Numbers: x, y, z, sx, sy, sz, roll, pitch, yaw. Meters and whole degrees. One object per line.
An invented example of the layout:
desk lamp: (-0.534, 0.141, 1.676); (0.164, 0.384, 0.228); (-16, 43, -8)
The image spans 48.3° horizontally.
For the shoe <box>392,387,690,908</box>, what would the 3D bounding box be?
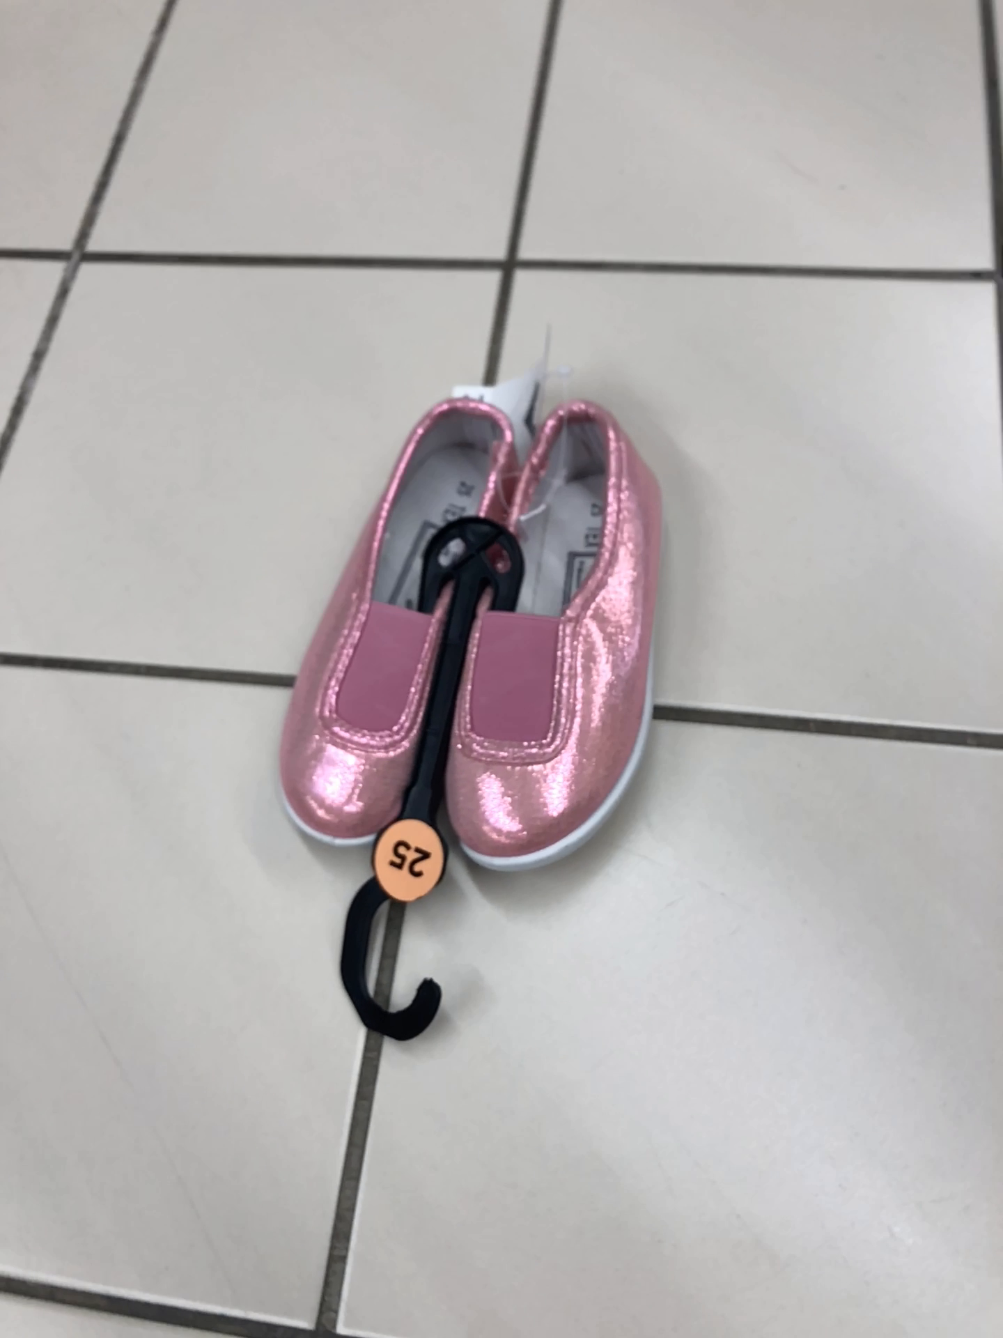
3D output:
shoe: (0.019, -0.011, 0.377); (0.069, 0.050, 0.164); (7, 66, 10)

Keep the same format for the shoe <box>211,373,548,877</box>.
shoe: (-0.035, -0.018, 0.388); (0.059, 0.051, 0.161); (12, 67, 12)
